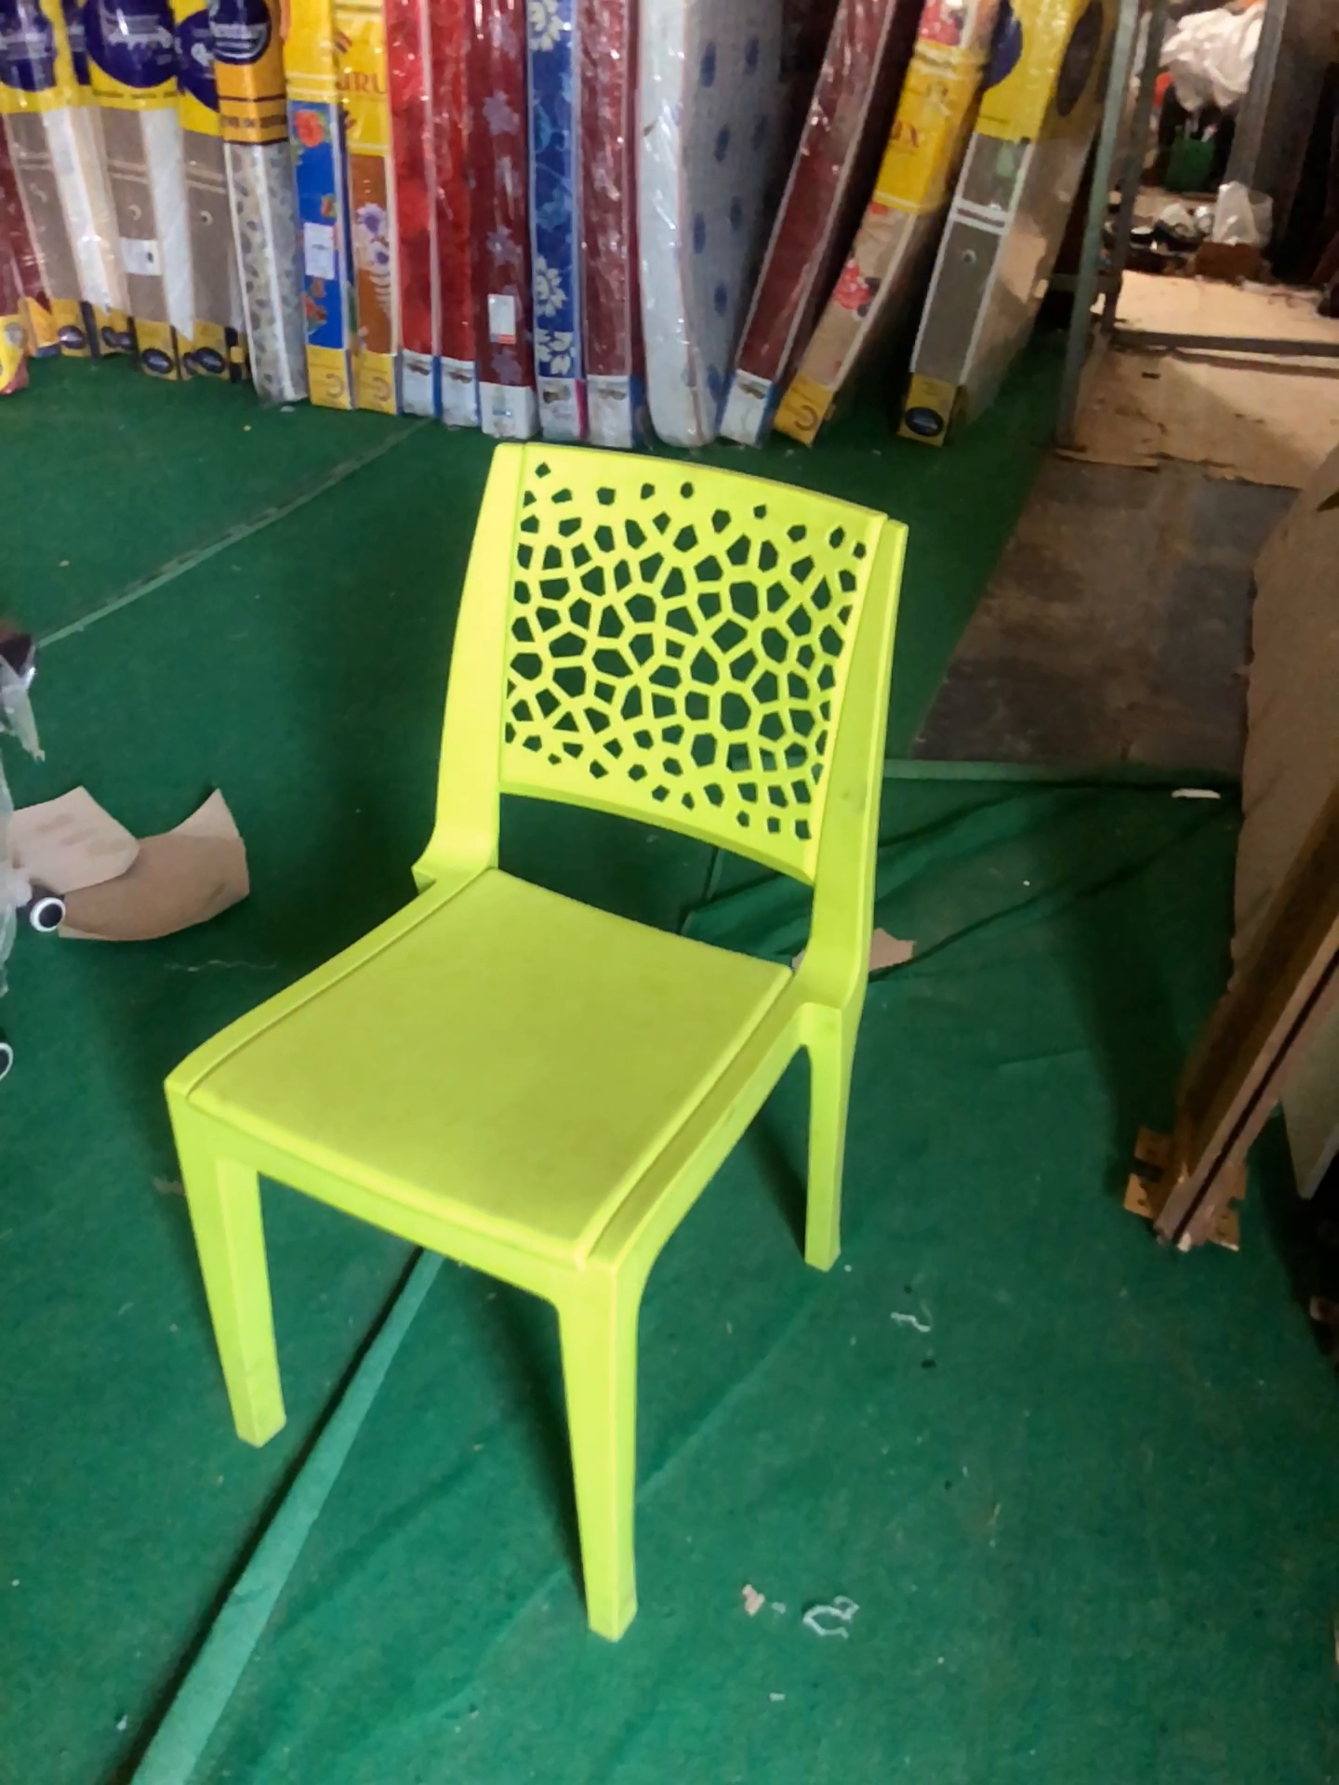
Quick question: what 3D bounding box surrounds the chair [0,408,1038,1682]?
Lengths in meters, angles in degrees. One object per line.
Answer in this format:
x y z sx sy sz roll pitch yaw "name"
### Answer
-0.085 0.073 1.291 0.530 0.776 0.643 17 36 24 "chair"
